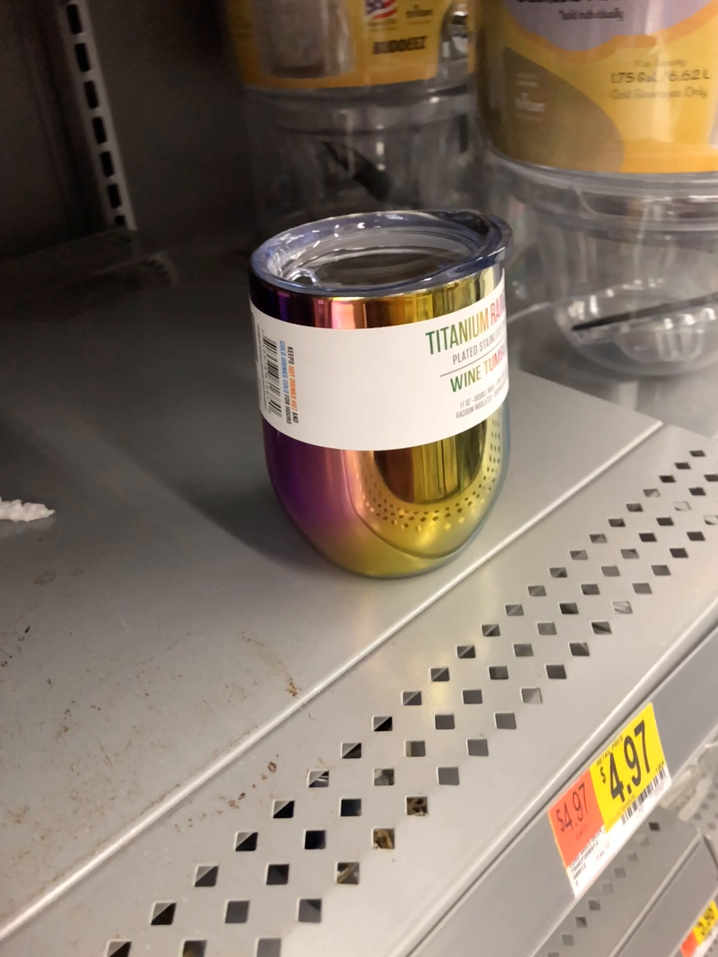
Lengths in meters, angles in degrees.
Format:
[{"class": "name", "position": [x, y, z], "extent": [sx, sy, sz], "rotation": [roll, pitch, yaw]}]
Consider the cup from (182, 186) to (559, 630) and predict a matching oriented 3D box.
[{"class": "cup", "position": [0.007, -0.028, 0.275], "extent": [0.076, 0.108, 0.086], "rotation": [27, 45, 35]}]
